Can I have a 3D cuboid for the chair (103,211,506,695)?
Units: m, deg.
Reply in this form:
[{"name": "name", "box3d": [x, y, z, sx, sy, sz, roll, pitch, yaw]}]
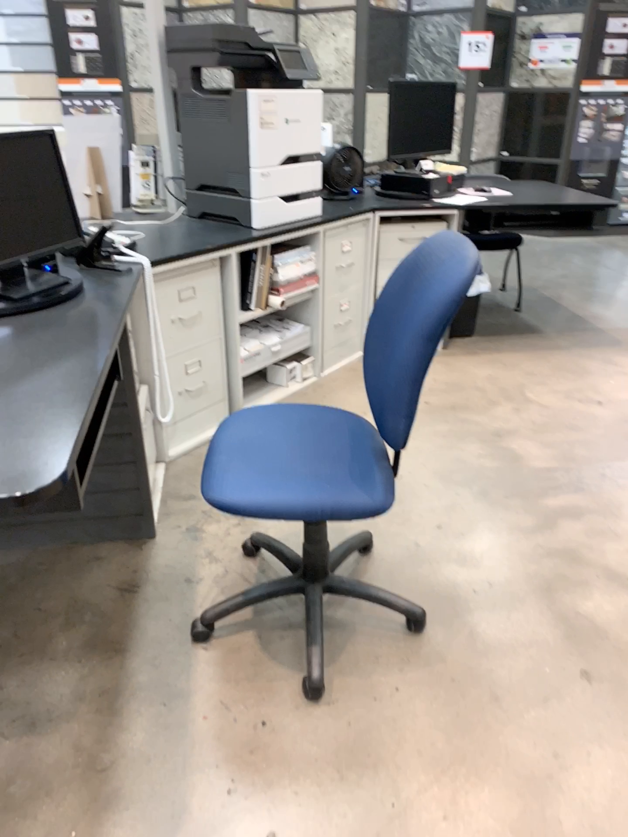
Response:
[{"name": "chair", "box3d": [-0.019, 0.065, 1.616, 0.692, 1.036, 0.661, 0, 27, 0]}]
